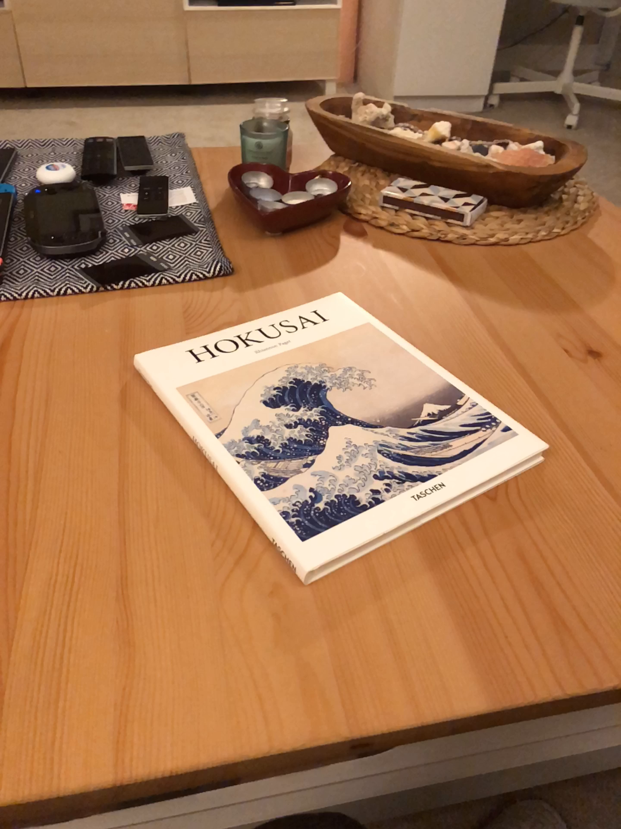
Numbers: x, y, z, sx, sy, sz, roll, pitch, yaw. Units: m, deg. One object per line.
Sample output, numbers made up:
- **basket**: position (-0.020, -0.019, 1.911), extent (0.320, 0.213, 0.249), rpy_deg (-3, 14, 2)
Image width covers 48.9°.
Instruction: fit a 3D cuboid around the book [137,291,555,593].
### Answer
- **book**: position (0.017, -0.005, 0.524), extent (0.211, 0.020, 0.252), rpy_deg (-21, 45, -27)
